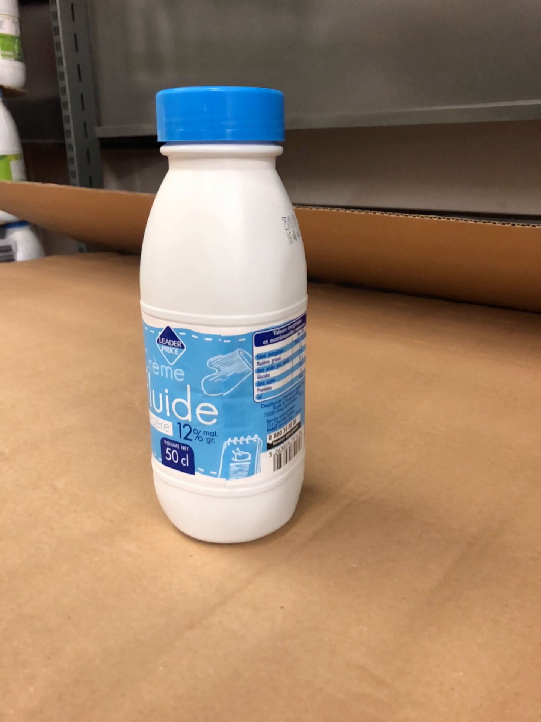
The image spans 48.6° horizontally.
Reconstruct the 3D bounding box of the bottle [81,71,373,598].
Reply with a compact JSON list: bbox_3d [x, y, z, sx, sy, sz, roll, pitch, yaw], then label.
[{"bbox_3d":[-0.013,-0.014,0.260,0.080,0.189,0.080,-1,18,0],"label":"bottle"}]
